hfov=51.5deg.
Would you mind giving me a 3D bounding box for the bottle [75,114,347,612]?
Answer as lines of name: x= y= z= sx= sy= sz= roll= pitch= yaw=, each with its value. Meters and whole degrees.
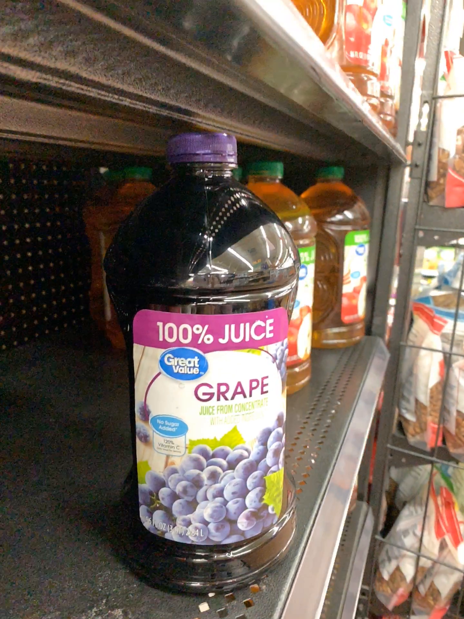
bottle: x=-0.020 y=0.027 z=0.331 sx=0.130 sy=0.279 sz=0.140 roll=1 pitch=14 yaw=0
